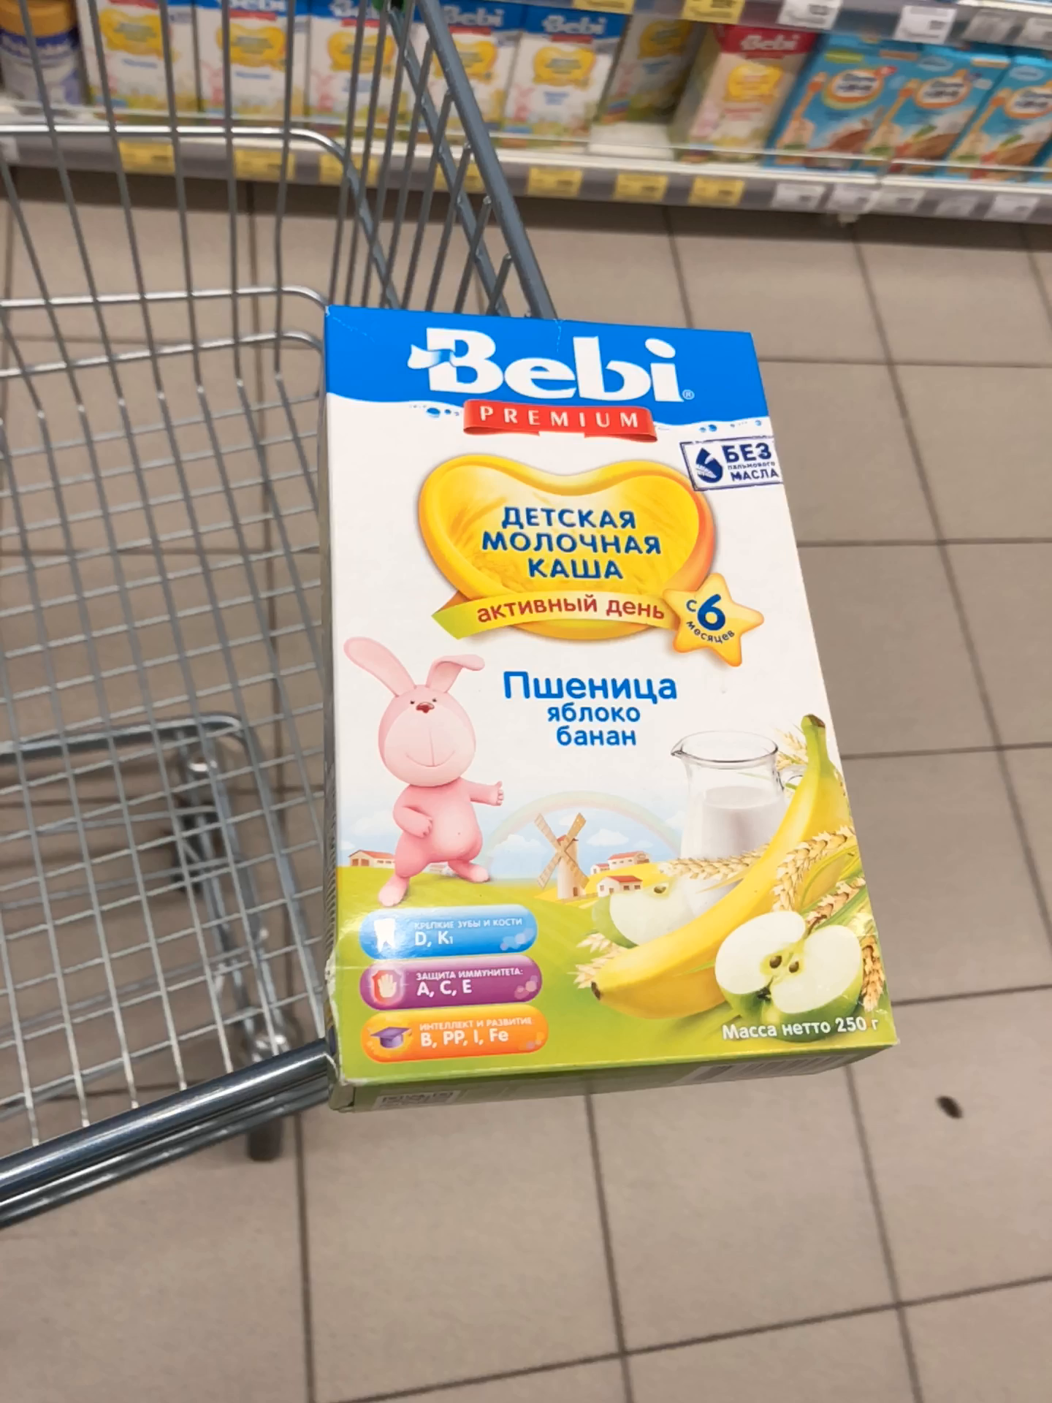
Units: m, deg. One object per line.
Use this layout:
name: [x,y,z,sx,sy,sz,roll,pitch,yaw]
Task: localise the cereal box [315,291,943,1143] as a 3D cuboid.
cereal box: [0.013,-0.004,0.303,0.130,0.050,0.210,-1,66,-11]
